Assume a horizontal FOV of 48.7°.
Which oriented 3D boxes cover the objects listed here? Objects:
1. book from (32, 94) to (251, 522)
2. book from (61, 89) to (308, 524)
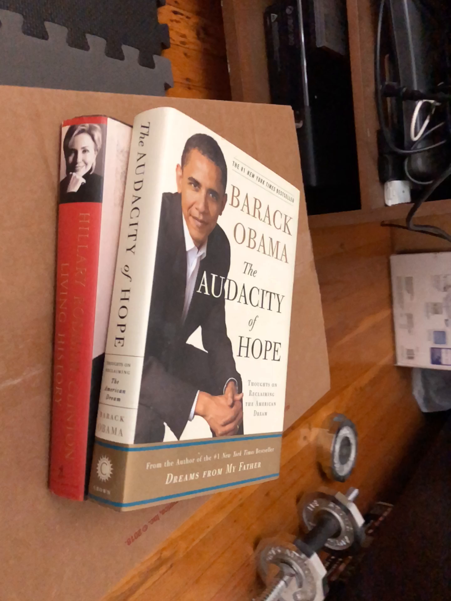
[{"bbox_3d":[-0.049,0.006,0.370,0.171,0.040,0.250,5,86,-52],"label":"book"},{"bbox_3d":[-0.011,0.011,0.369,0.191,0.040,0.250,15,78,-51],"label":"book"}]
